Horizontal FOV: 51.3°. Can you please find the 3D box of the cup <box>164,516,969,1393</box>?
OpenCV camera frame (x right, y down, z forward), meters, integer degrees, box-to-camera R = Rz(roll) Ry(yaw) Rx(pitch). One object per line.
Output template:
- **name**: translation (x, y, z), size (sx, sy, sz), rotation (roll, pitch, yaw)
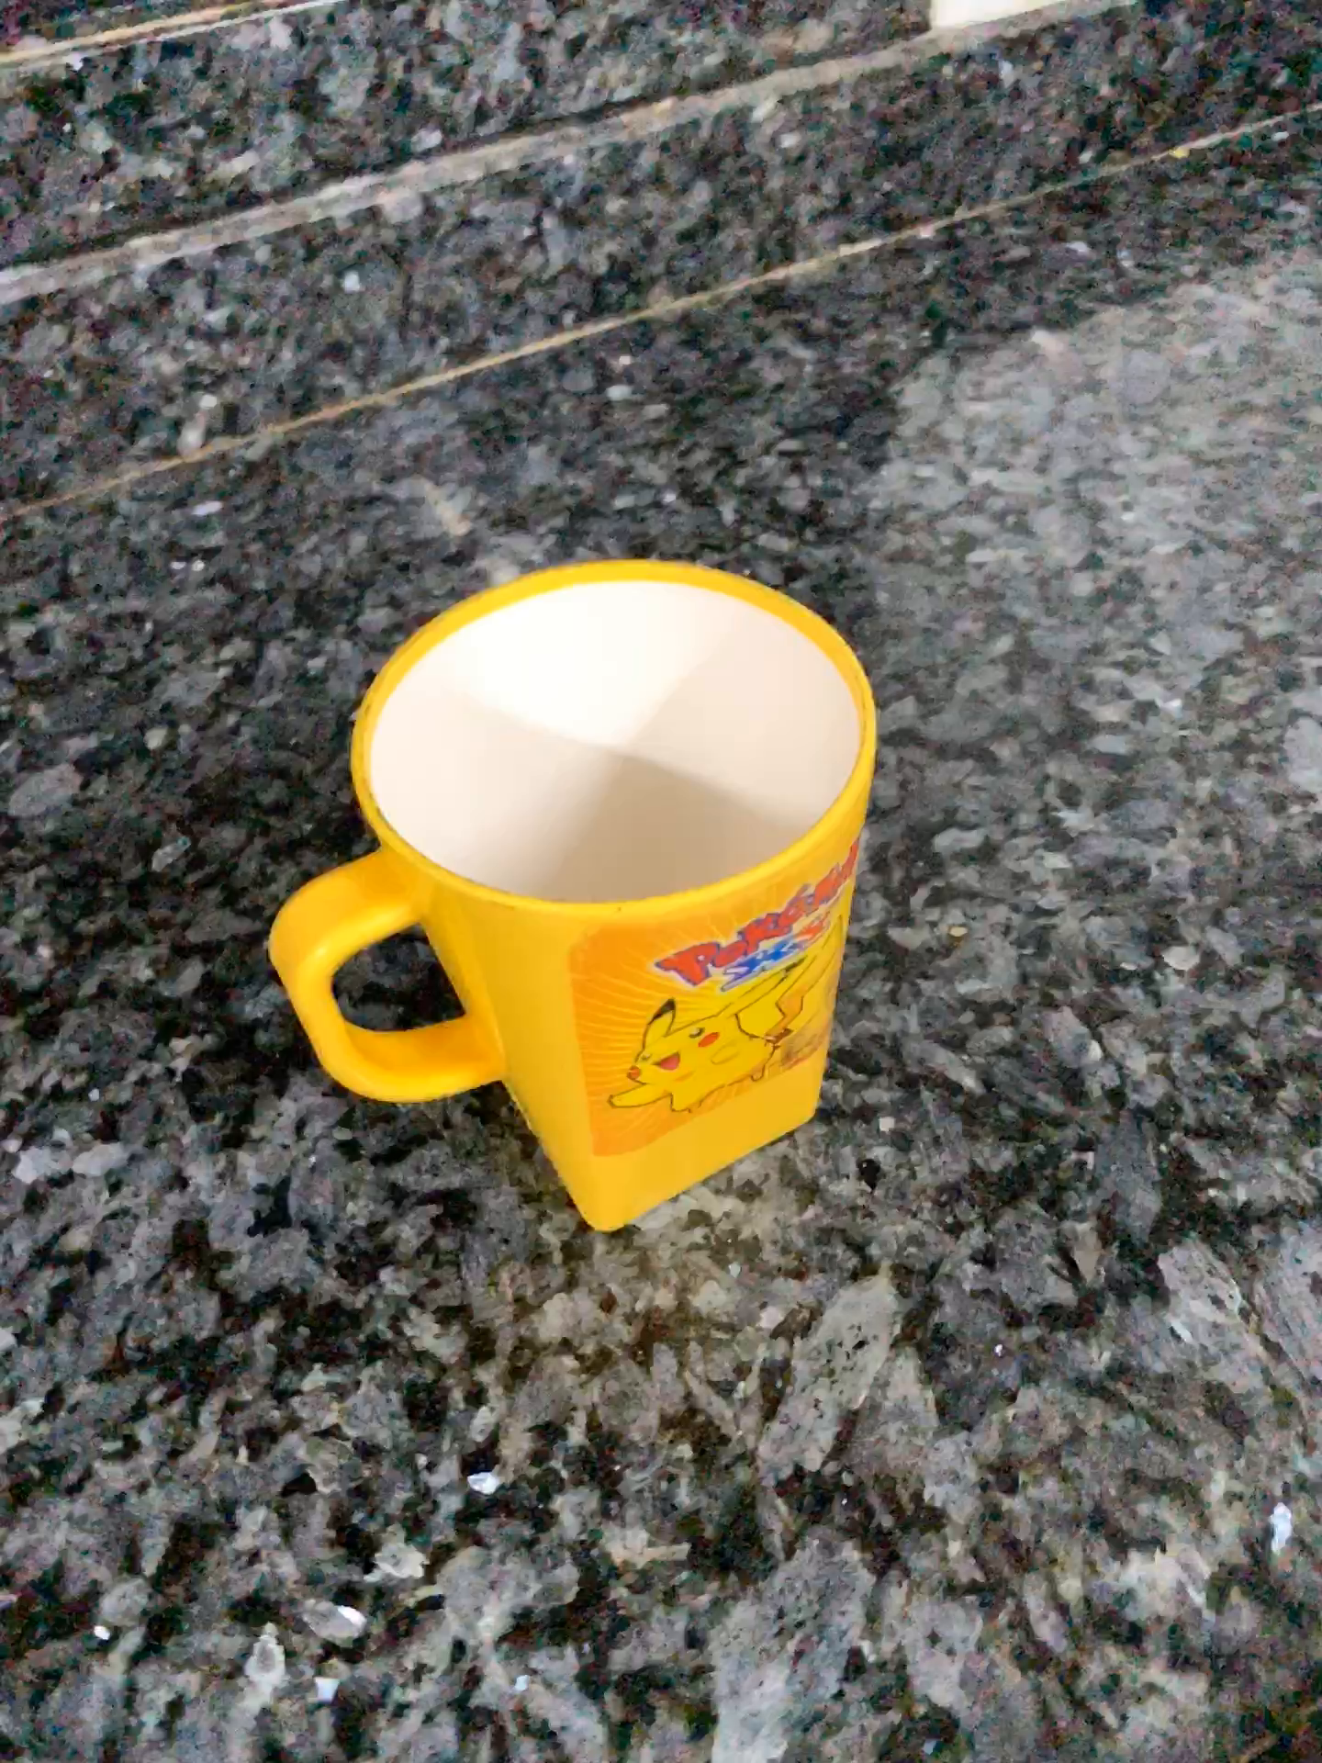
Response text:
- **cup**: translation (-0.013, 0.014, 0.248), size (0.100, 0.109, 0.070), rotation (-27, 52, -20)
